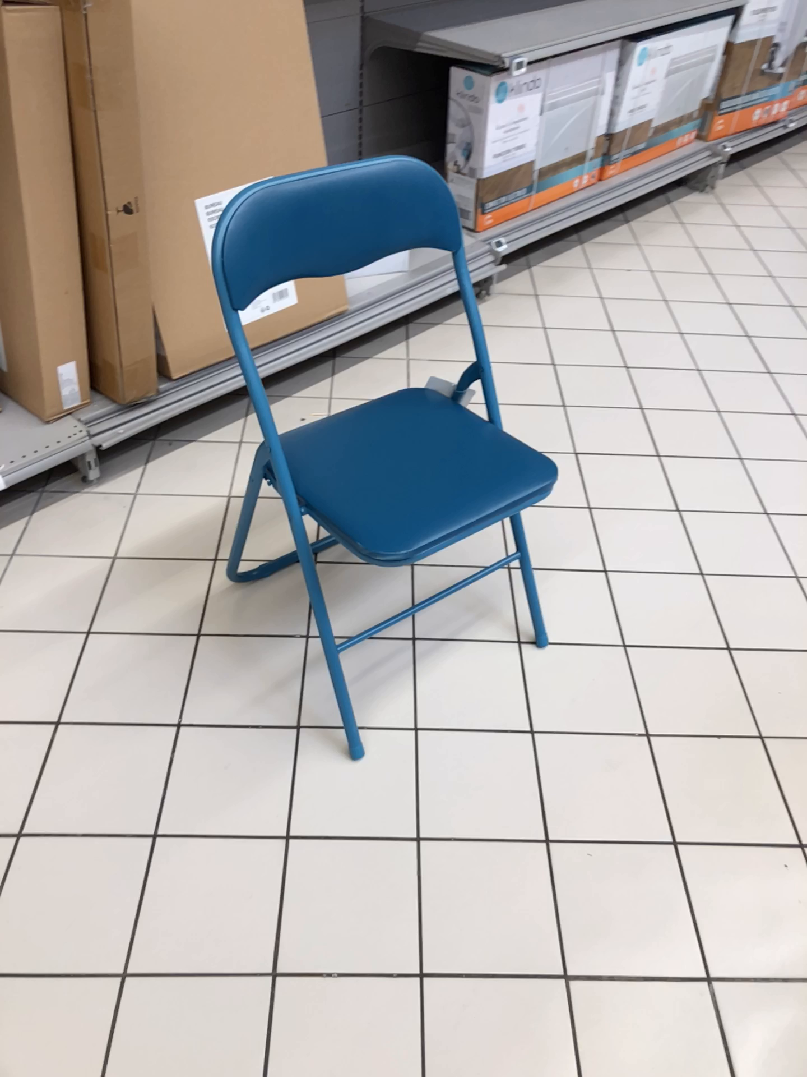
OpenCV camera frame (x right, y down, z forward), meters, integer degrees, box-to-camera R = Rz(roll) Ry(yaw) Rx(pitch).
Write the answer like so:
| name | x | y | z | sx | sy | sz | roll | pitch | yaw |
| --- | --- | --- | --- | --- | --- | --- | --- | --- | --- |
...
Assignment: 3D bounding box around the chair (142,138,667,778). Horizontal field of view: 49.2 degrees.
| name | x | y | z | sx | sy | sz | roll | pitch | yaw |
| --- | --- | --- | --- | --- | --- | --- | --- | --- | --- |
| chair | -0.028 | -0.134 | 1.420 | 0.502 | 0.765 | 0.501 | -23 | 48 | -28 |
